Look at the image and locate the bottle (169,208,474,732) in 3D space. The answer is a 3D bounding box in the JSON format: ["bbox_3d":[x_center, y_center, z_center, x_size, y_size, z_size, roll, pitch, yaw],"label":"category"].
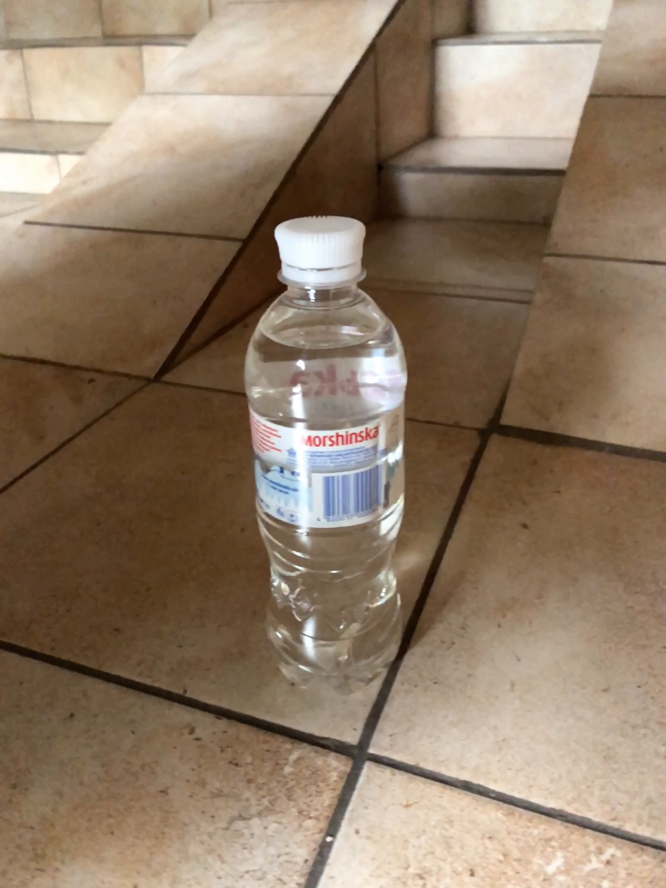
[{"bbox_3d":[0.000,0.012,0.322,0.080,0.199,0.080,-2,30,1],"label":"bottle"}]
